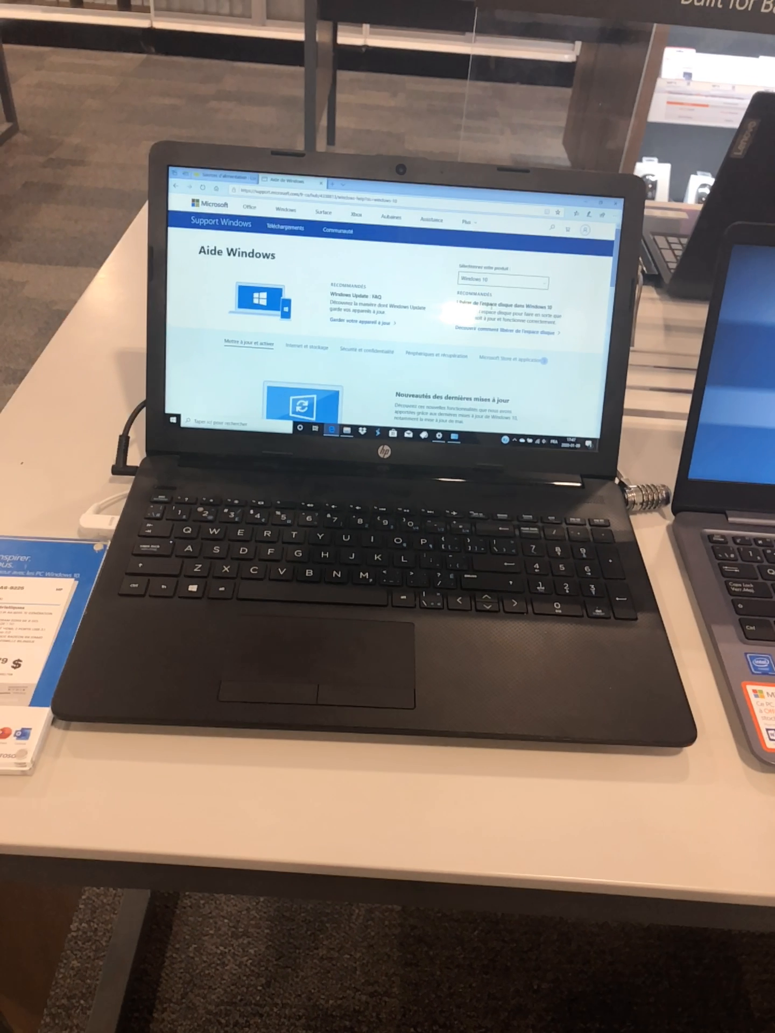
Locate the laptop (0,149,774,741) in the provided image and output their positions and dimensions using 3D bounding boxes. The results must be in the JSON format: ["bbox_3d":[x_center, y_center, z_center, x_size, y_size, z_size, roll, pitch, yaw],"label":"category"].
[{"bbox_3d":[0.000,-0.073,0.553,0.356,0.195,0.361,3,40,-1],"label":"laptop"}]
